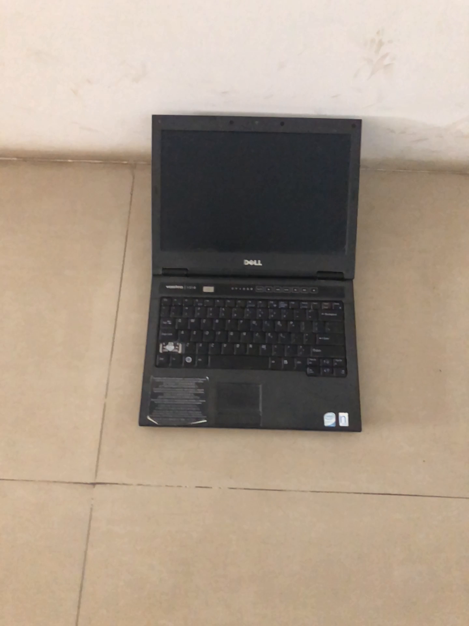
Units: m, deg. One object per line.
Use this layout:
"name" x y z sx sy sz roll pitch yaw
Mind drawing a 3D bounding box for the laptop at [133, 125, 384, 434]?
"laptop" 0.033 -0.057 0.743 0.299 0.114 0.433 1 69 2
